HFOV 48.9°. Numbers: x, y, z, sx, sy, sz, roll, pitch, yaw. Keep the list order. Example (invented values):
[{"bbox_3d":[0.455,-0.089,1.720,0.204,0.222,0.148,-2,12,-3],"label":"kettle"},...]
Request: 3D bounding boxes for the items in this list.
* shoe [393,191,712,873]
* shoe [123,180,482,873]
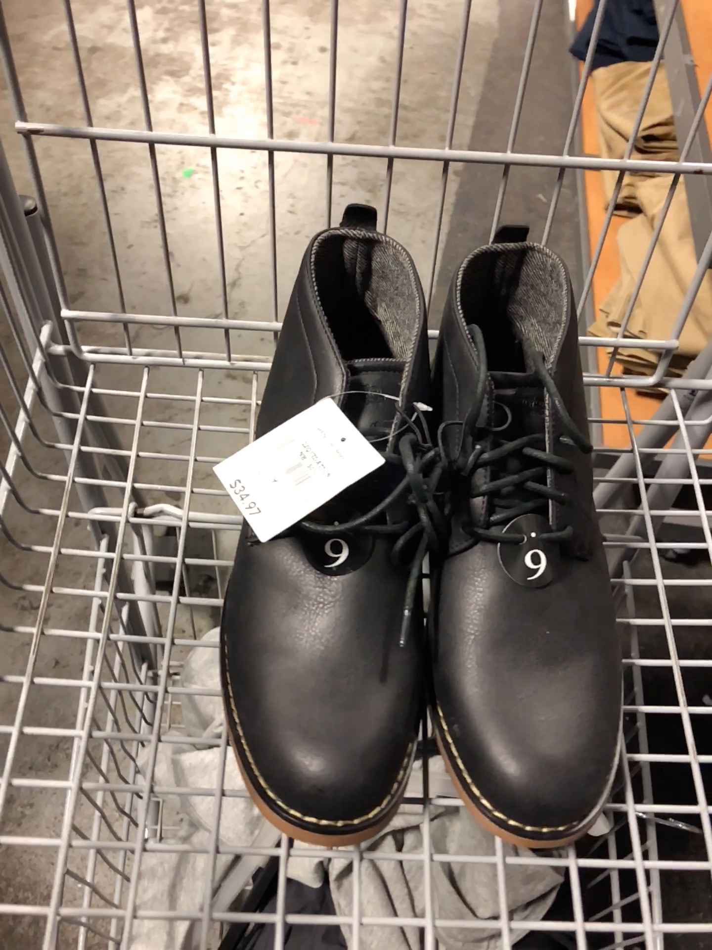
[{"bbox_3d":[0.078,0.034,0.388,0.100,0.199,0.272,3,58,-2],"label":"shoe"},{"bbox_3d":[-0.017,0.031,0.372,0.100,0.199,0.262,3,58,-2],"label":"shoe"}]
